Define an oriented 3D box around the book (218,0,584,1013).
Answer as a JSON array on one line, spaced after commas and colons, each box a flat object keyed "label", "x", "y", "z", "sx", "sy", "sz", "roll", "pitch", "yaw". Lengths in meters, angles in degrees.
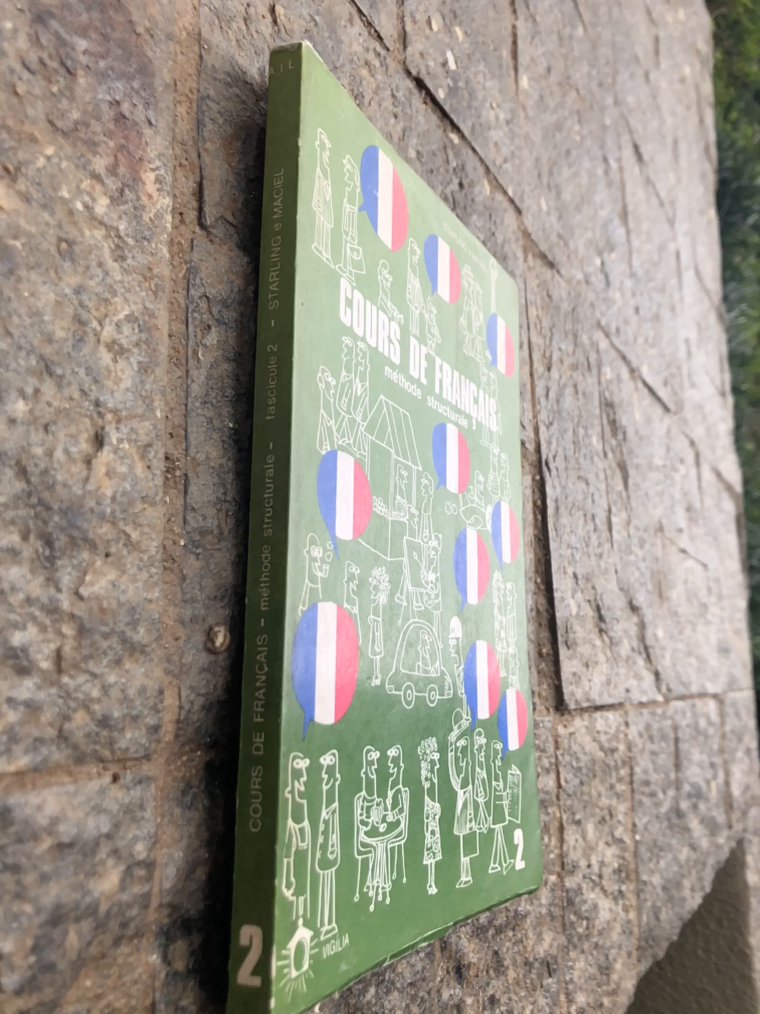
[{"label": "book", "x": 0.020, "y": 0.006, "z": 0.237, "sx": 0.168, "sy": 0.013, "sz": 0.211, "roll": 21, "pitch": 66, "yaw": -57}]
